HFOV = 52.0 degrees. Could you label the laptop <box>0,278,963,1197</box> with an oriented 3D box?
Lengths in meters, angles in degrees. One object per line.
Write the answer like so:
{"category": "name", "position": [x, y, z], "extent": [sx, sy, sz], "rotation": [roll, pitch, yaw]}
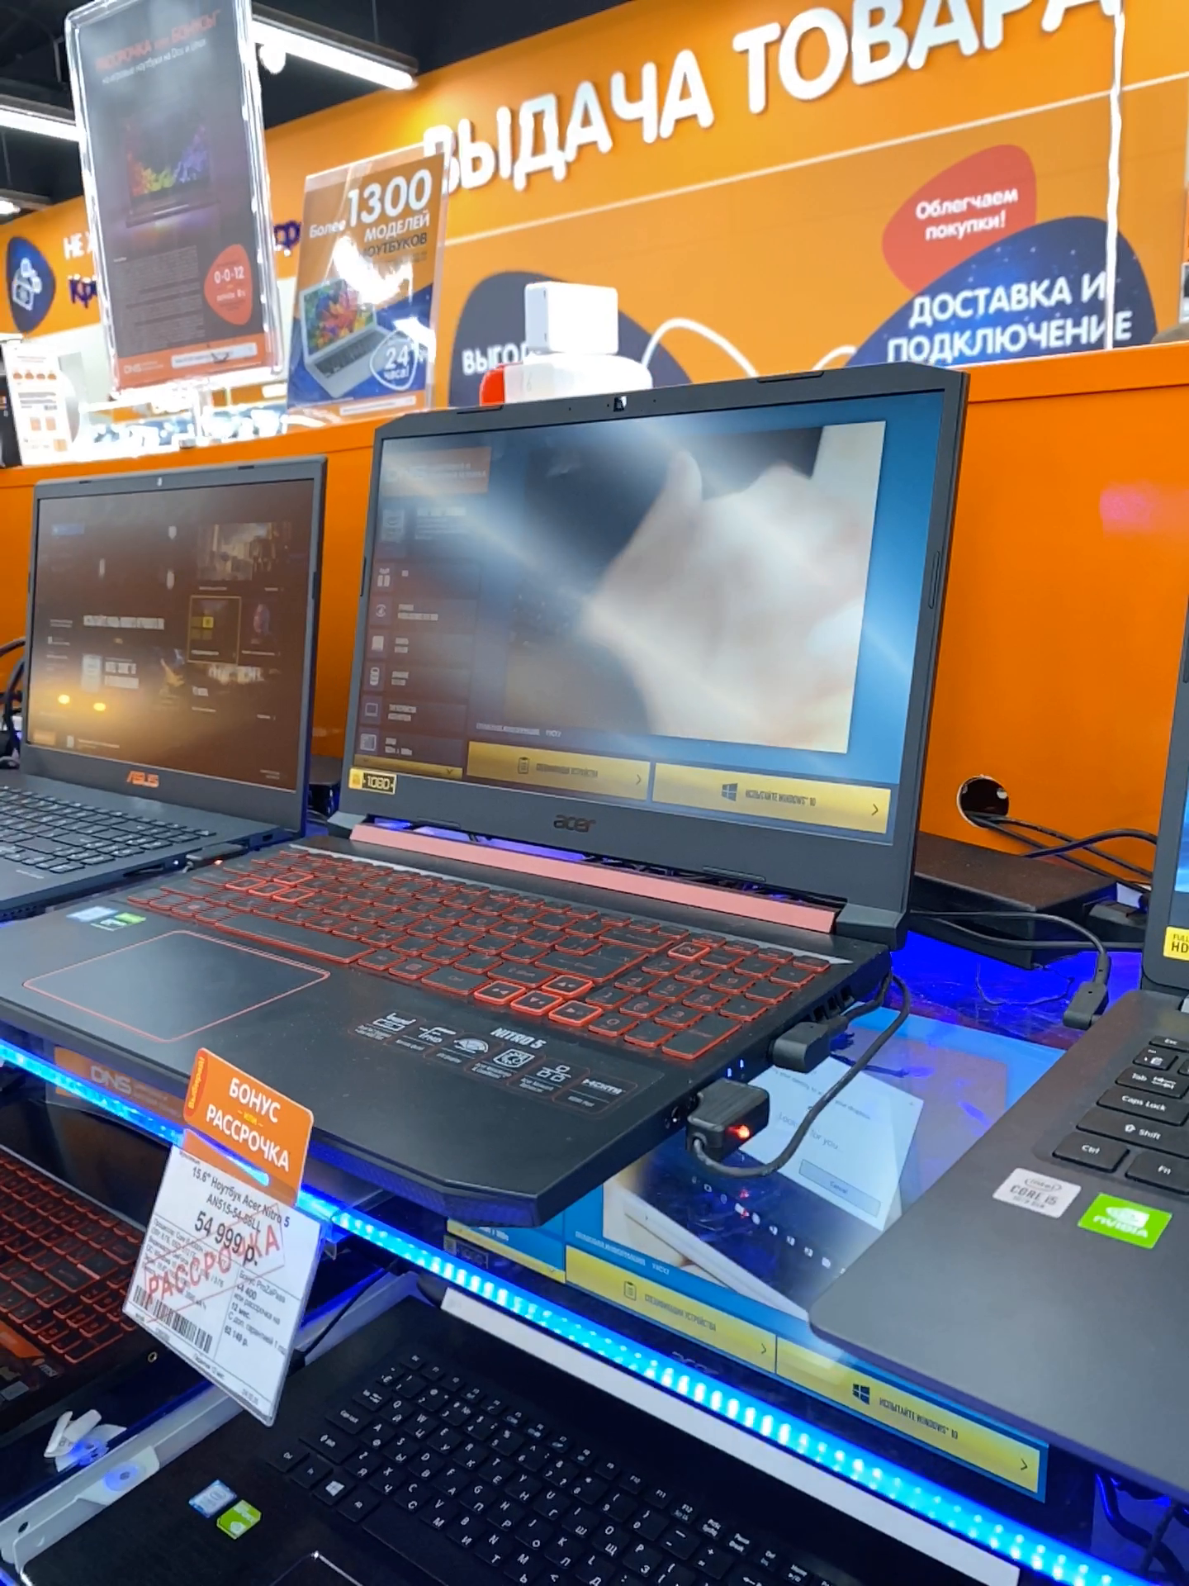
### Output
{"category": "laptop", "position": [-0.075, -0.053, 0.532], "extent": [0.361, 0.237, 0.302], "rotation": [7, 15, 36]}
